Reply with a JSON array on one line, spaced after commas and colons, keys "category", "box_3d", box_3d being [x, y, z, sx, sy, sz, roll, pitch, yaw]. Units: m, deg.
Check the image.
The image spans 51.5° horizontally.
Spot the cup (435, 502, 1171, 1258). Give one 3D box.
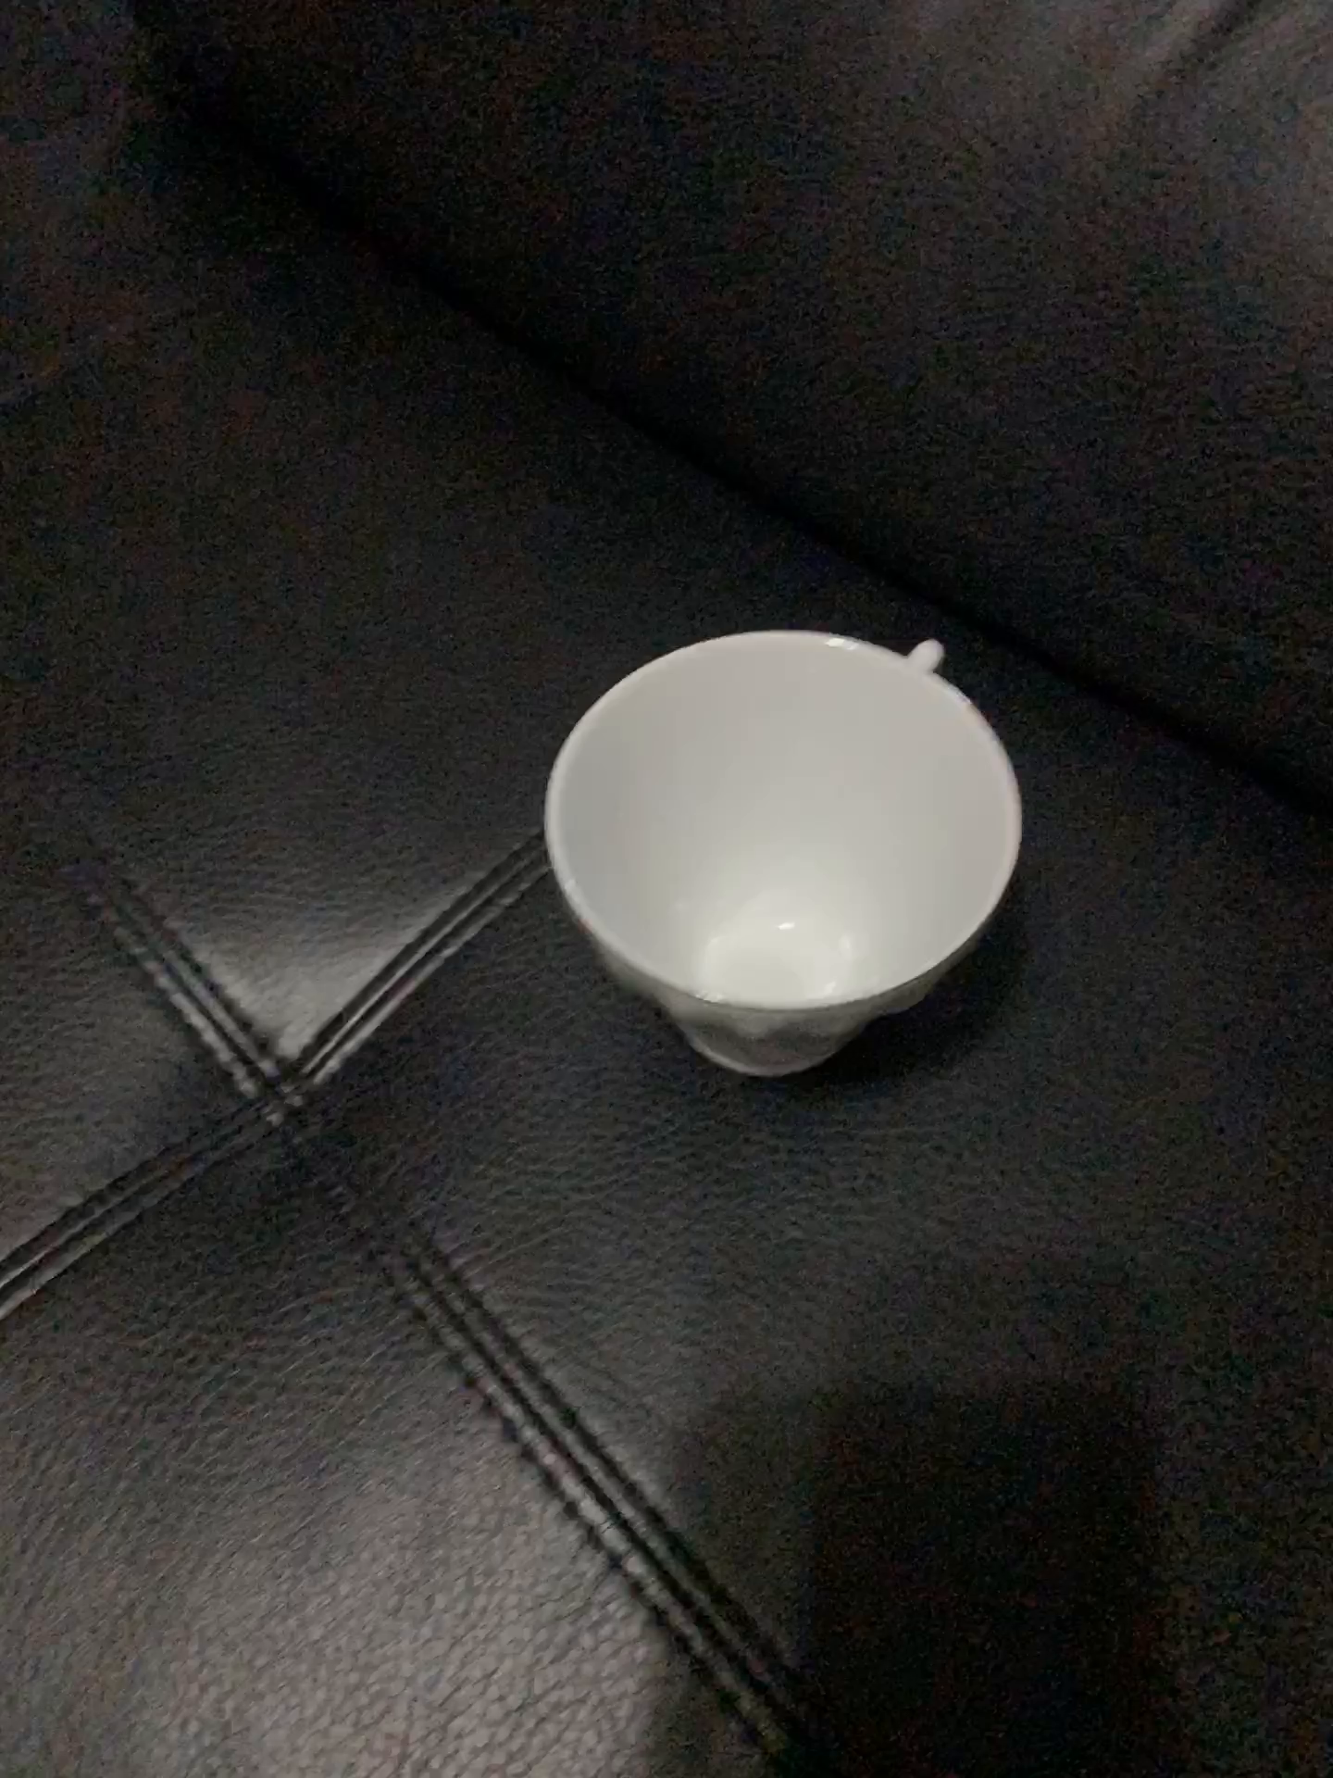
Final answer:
[{"category": "cup", "box_3d": [0.029, -0.007, 0.281, 0.094, 0.059, 0.114, 28, 59, 18]}]
